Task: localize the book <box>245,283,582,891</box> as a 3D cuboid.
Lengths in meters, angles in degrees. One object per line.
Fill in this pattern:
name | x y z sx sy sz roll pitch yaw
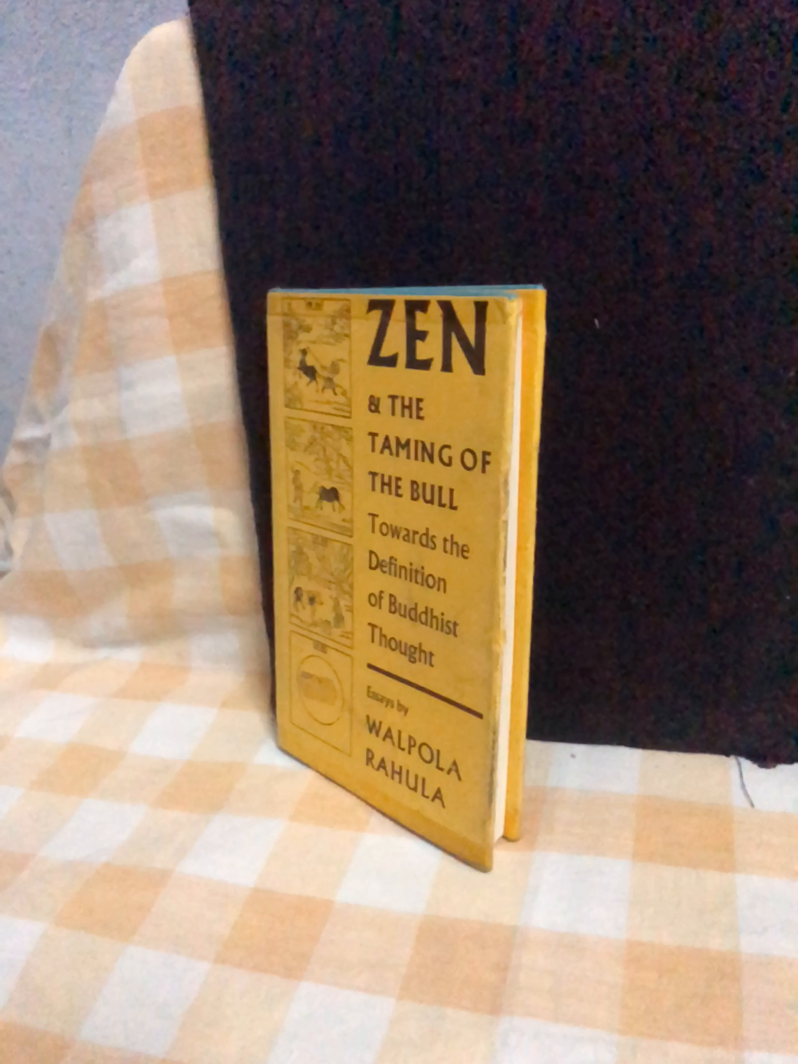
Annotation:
book | -0.003 0.012 0.350 0.140 0.209 0.030 16 22 42
